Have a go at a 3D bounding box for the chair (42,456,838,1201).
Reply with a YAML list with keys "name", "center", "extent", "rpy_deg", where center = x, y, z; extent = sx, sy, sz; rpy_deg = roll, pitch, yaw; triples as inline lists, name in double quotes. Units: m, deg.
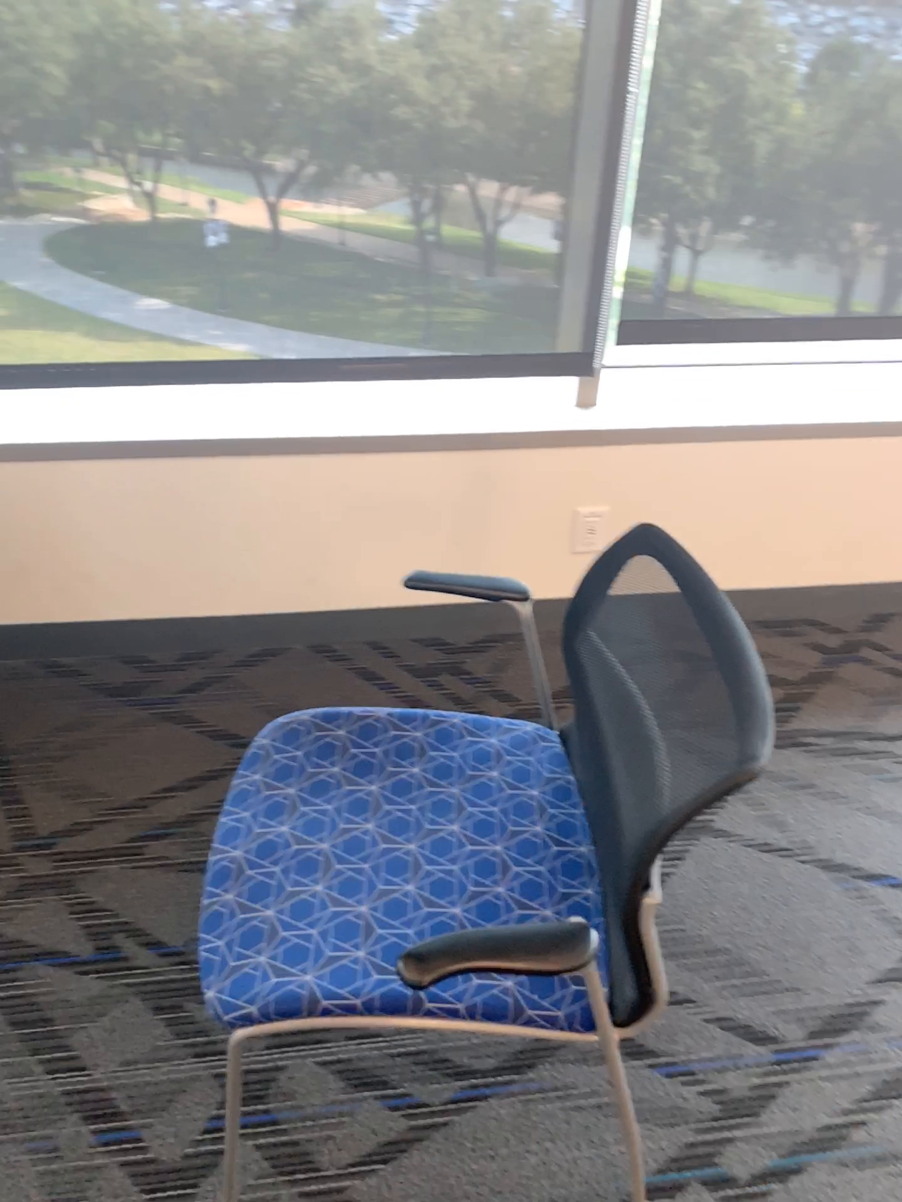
- name: "chair"
  center: [-0.022, 0.296, 1.103]
  extent: [0.580, 0.763, 0.535]
  rpy_deg: [0, 35, -2]
